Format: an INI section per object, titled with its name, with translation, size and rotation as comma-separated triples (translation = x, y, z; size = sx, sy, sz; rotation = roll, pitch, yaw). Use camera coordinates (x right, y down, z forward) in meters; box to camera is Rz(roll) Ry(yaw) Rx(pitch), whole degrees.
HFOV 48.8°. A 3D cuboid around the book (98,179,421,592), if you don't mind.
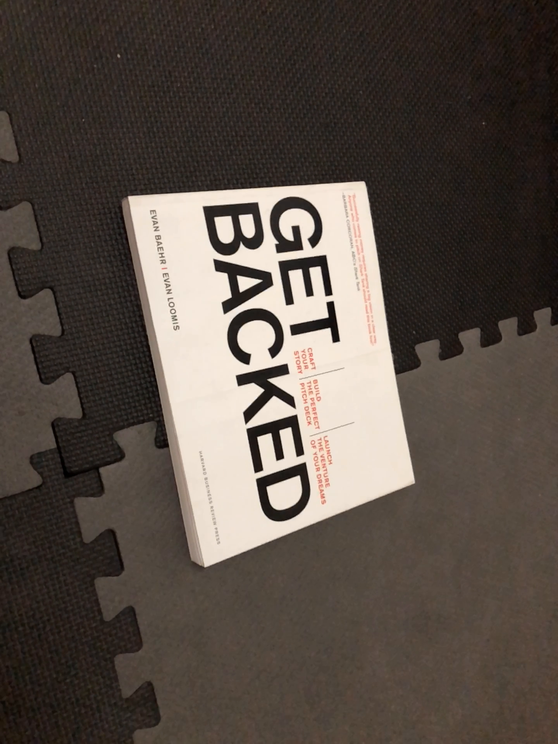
[book]
translation = 0.000, -0.004, 0.453
size = 0.211, 0.020, 0.260
rotation = -13, 96, -29
